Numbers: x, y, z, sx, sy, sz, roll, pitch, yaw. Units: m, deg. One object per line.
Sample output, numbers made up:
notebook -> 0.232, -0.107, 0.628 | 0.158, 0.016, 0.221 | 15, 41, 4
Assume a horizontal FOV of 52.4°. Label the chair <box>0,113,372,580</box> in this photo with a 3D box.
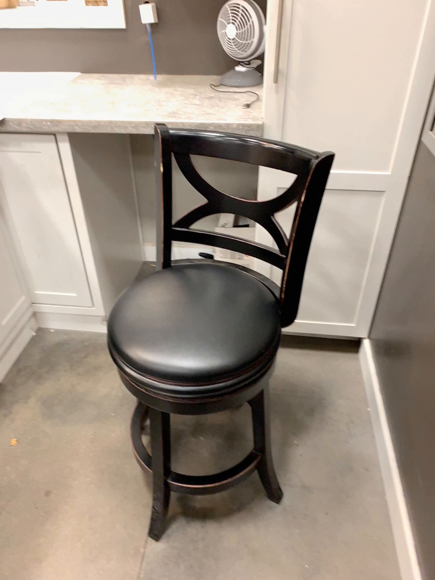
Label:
chair -> -0.048, 0.135, 1.115 | 0.558, 0.912, 0.607 | 17, 39, 22
